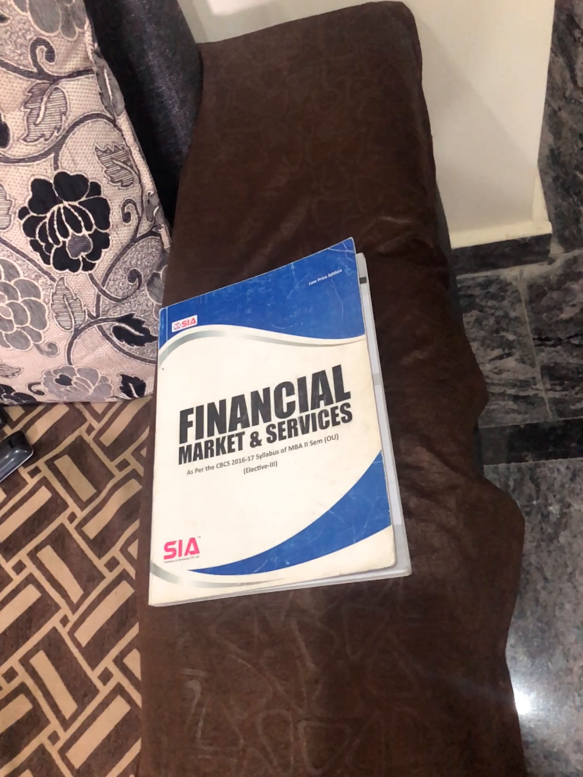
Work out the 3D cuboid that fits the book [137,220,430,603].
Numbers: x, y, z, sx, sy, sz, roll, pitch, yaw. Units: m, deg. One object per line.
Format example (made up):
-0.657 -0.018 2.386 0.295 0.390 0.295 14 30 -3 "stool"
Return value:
-0.021 0.011 0.552 0.220 0.040 0.300 -12 62 12 "book"
